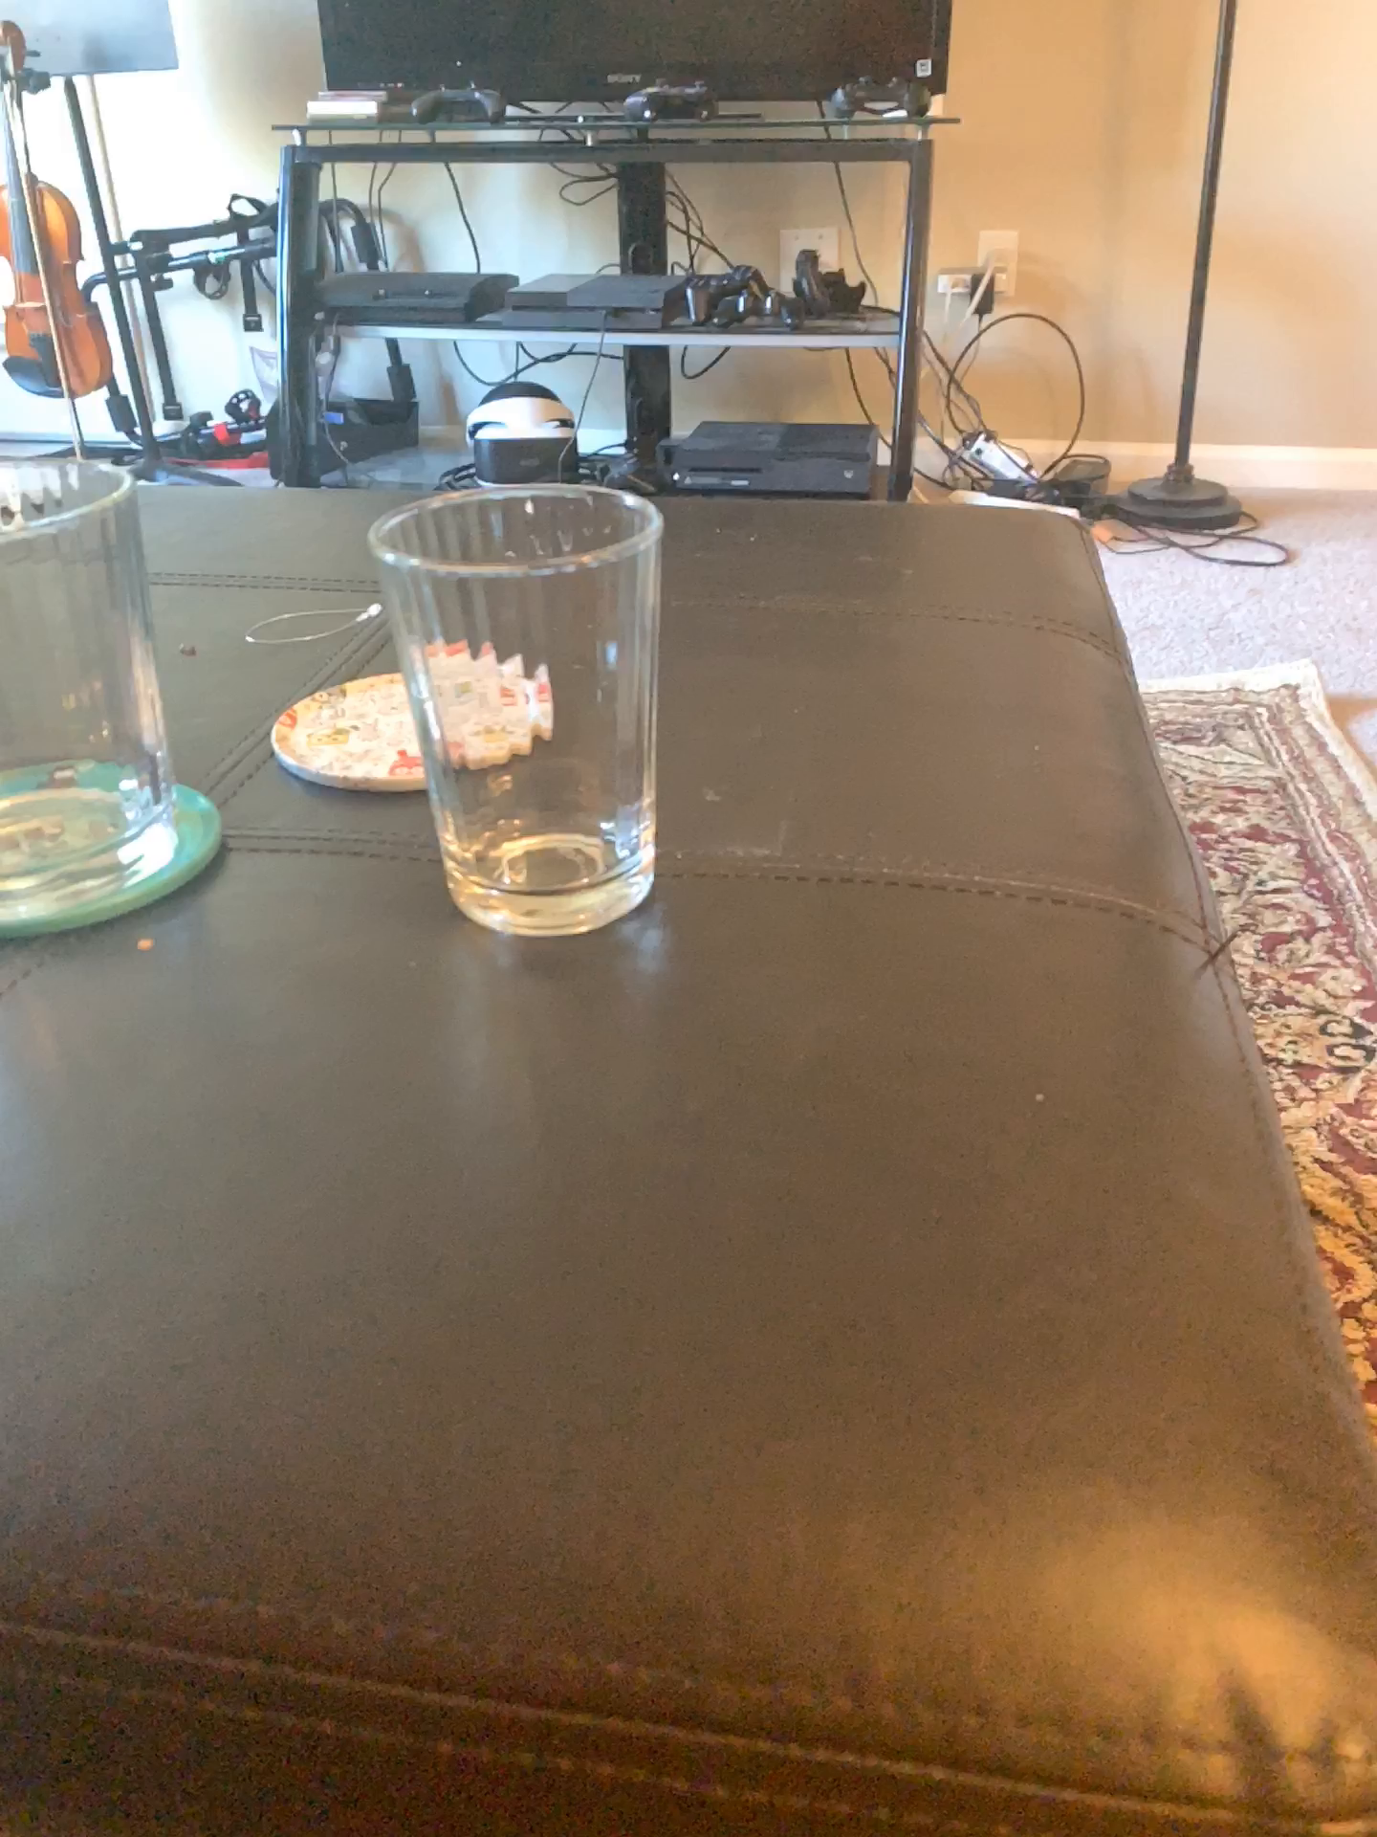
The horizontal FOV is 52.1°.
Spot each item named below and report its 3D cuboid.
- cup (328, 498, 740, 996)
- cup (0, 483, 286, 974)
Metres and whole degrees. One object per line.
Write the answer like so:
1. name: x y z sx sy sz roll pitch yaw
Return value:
1. cup: -0.033 -0.044 0.337 0.060 0.089 0.070 19 35 32
2. cup: -0.168 -0.053 0.361 0.080 0.089 0.080 -1 29 1
